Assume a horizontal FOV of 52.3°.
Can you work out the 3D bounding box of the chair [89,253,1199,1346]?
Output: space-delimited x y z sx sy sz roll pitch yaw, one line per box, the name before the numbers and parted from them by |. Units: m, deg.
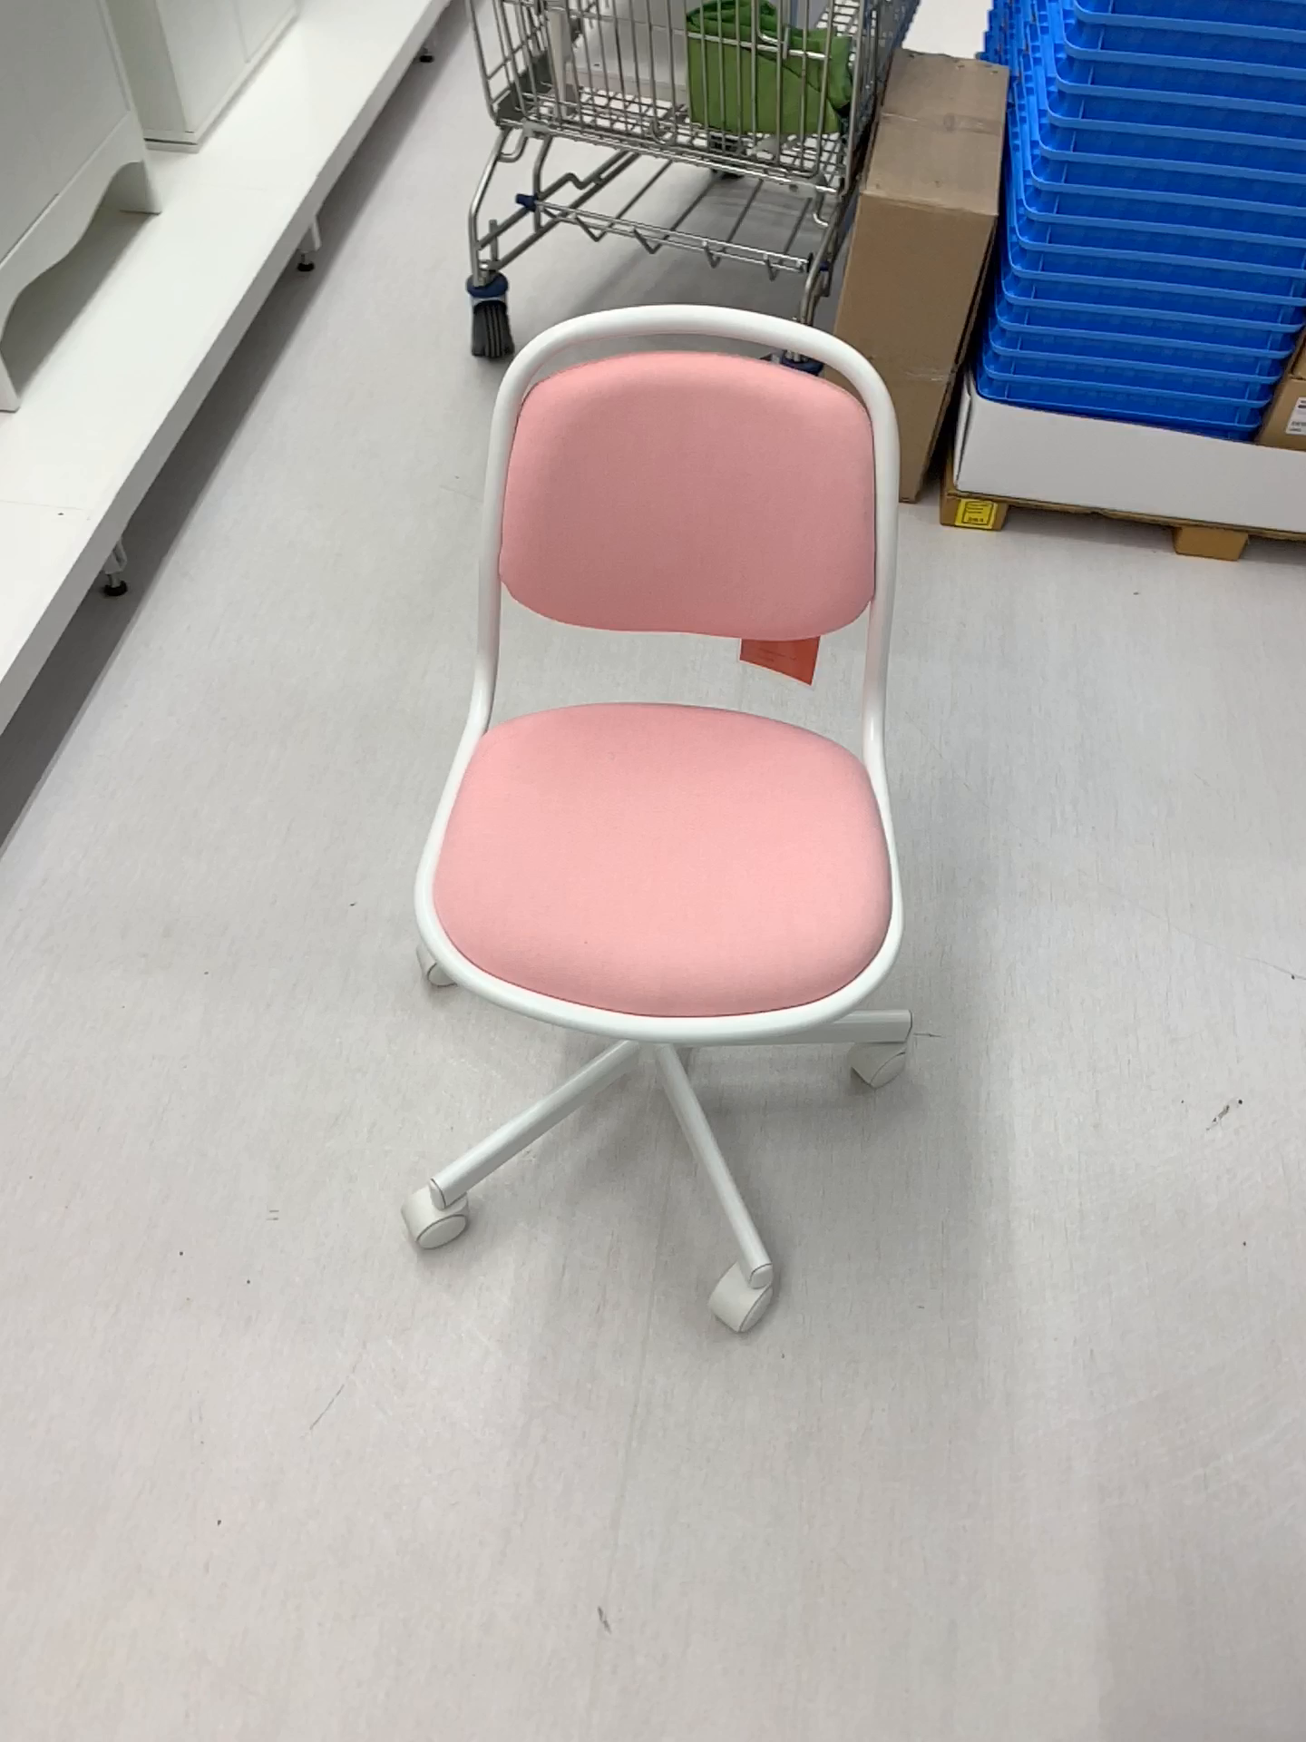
chair | 0.010 -0.020 1.106 0.560 0.698 0.532 5 52 3
